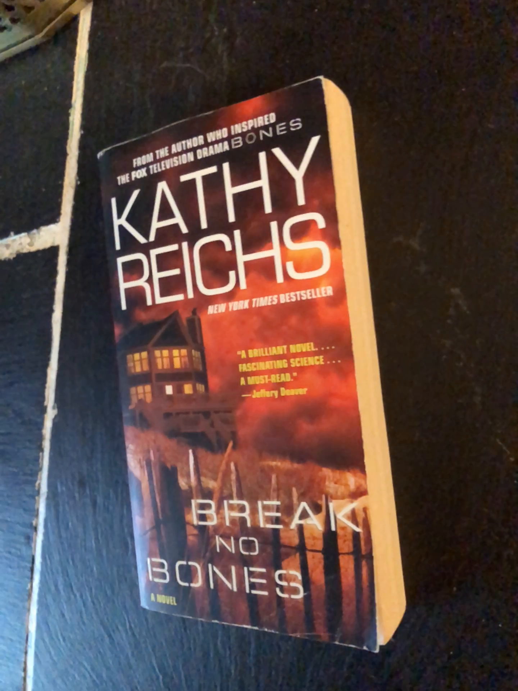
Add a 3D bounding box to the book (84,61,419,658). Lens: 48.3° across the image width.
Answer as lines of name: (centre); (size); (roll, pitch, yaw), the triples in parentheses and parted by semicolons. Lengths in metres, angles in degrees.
book: (-0.006, 0.009, 0.221); (0.108, 0.030, 0.189); (-6, 90, 29)
